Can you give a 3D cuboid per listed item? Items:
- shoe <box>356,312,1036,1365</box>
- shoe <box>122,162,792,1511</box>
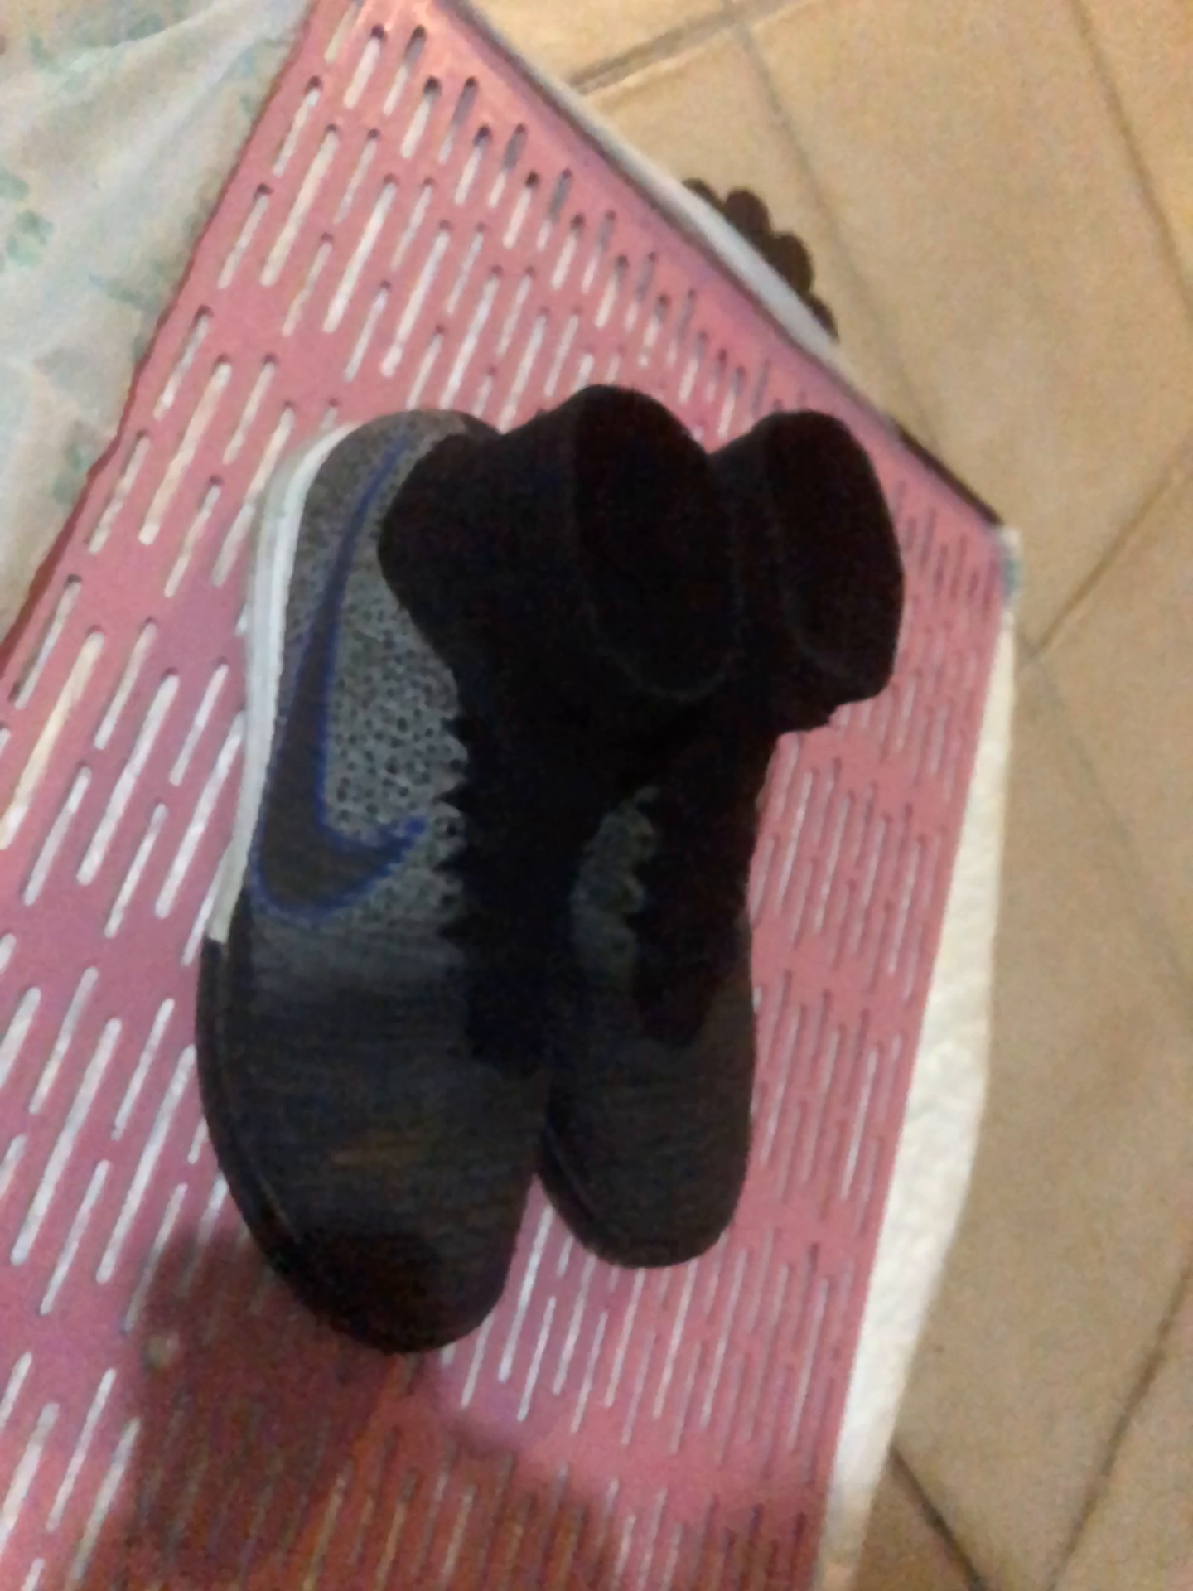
[{"bbox_3d":[0.024,0.013,0.416,0.101,0.149,0.260,-7,88,-41],"label":"shoe"},{"bbox_3d":[-0.046,0.011,0.355,0.101,0.149,0.270,2,82,-41],"label":"shoe"}]
